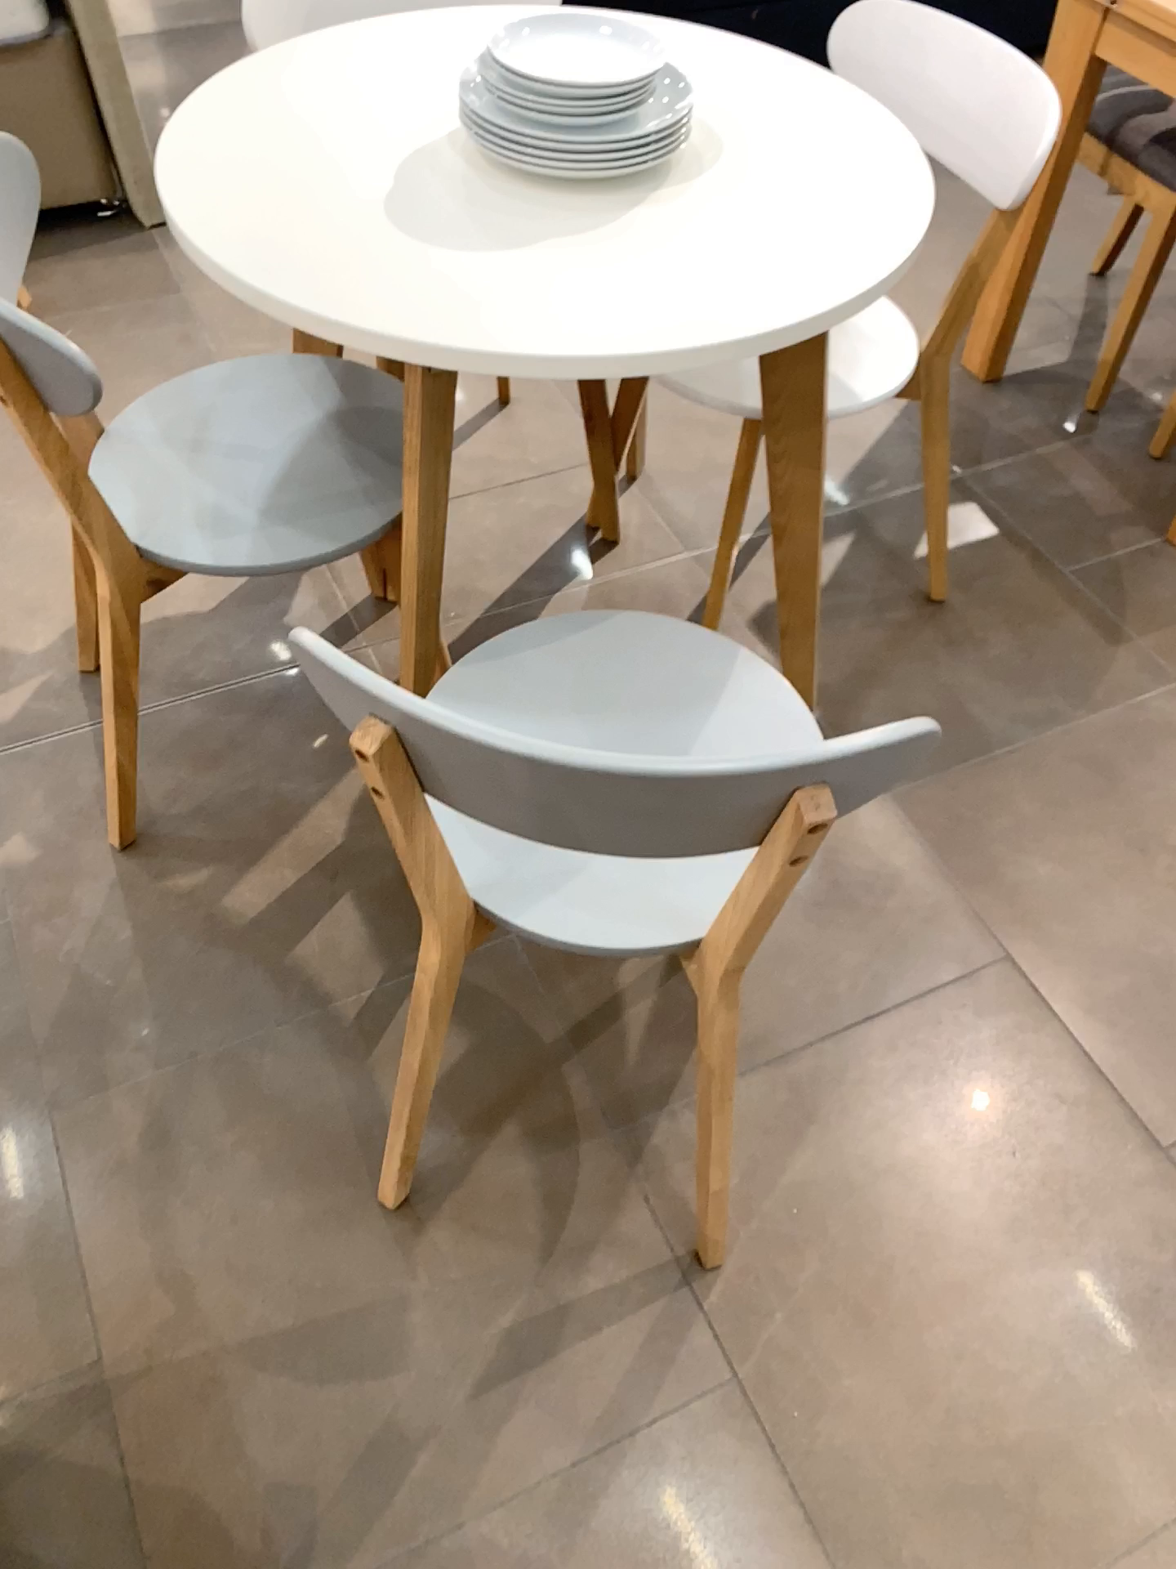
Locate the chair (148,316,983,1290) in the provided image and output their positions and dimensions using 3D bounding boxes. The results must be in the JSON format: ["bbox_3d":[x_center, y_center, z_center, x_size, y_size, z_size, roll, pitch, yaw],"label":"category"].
[{"bbox_3d":[0.004,0.066,1.215,0.519,0.799,0.535,8,50,4],"label":"chair"}]

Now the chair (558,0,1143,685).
[{"bbox_3d":[0.311,-0.679,1.849,0.541,0.799,0.523,-17,53,-16],"label":"chair"}]

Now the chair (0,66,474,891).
[{"bbox_3d":[-0.509,-0.376,1.577,0.541,0.799,0.523,-18,53,-17],"label":"chair"}]
